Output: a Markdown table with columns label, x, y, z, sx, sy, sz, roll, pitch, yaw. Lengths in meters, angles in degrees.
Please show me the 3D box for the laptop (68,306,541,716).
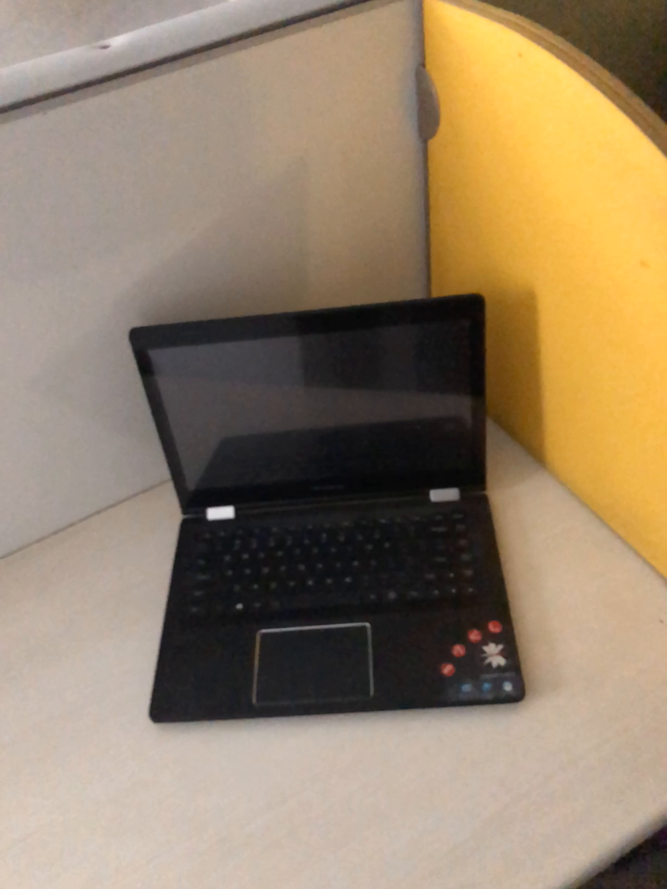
| label | x | y | z | sx | sy | sz | roll | pitch | yaw |
| --- | --- | --- | --- | --- | --- | --- | --- | --- | --- |
| laptop | -0.012 | 0.060 | 0.656 | 0.311 | 0.225 | 0.265 | -5 | 46 | 5 |
